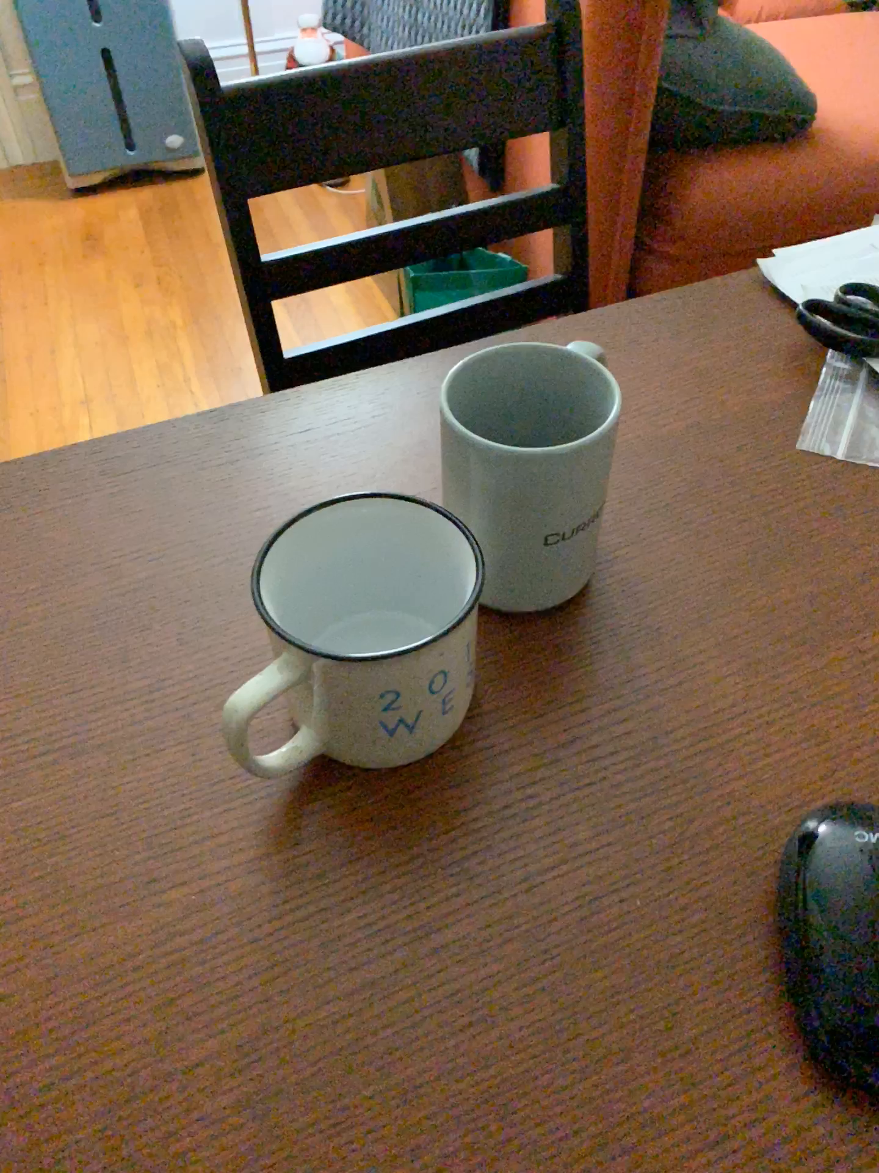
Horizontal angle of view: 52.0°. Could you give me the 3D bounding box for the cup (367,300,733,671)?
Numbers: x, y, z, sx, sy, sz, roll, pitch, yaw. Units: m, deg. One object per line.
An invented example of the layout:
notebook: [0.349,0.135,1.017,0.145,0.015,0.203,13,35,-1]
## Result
cup: [0.053,-0.055,0.456,0.140,0.100,0.100,-33,55,-25]

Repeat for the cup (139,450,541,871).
cup: [-0.040,0.029,0.406,0.130,0.100,0.100,-33,55,-25]
